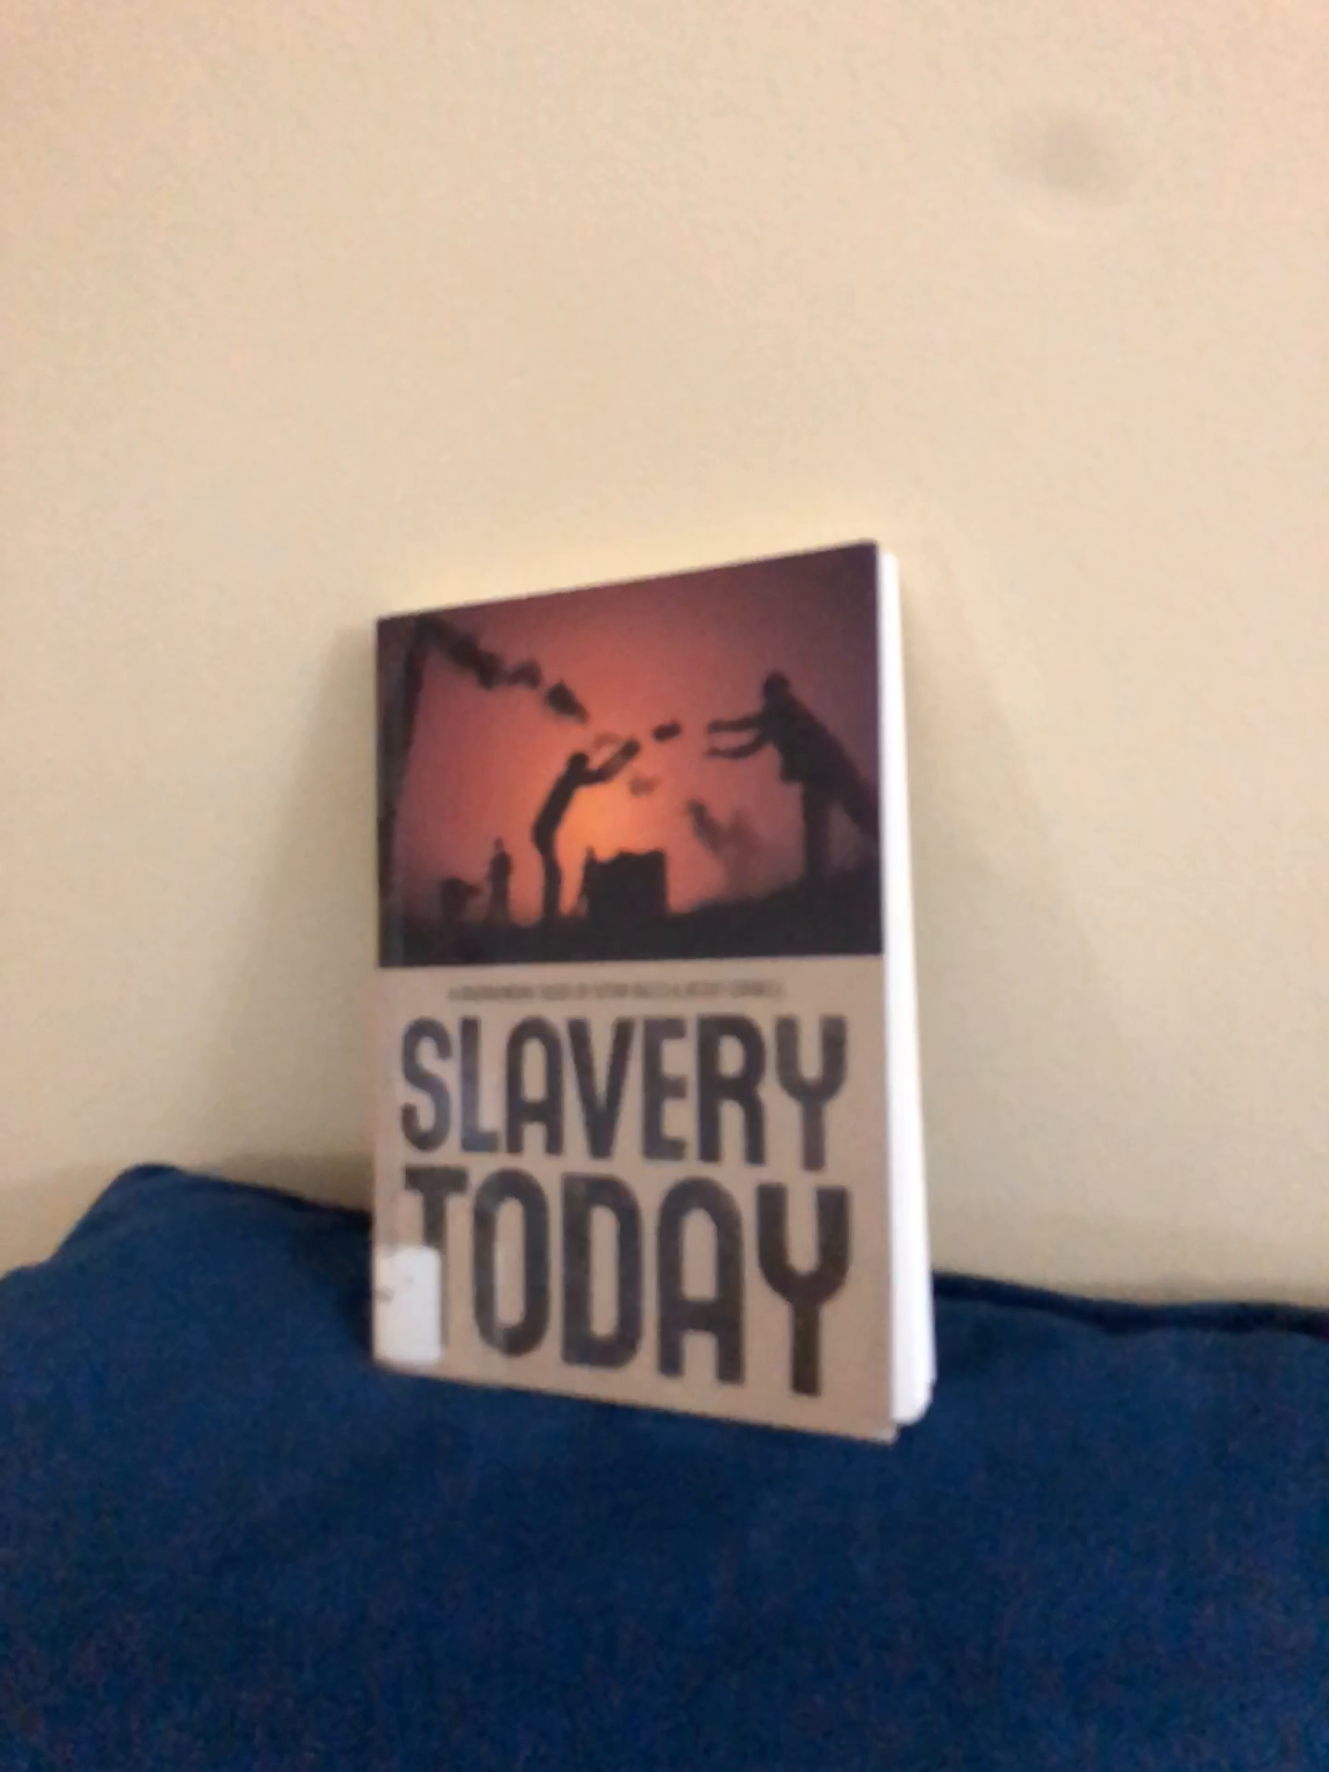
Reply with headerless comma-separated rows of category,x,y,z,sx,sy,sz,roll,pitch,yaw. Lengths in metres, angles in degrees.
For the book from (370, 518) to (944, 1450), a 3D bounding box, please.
book,-0.004,0.020,0.327,0.127,0.182,0.028,-3,-8,29
